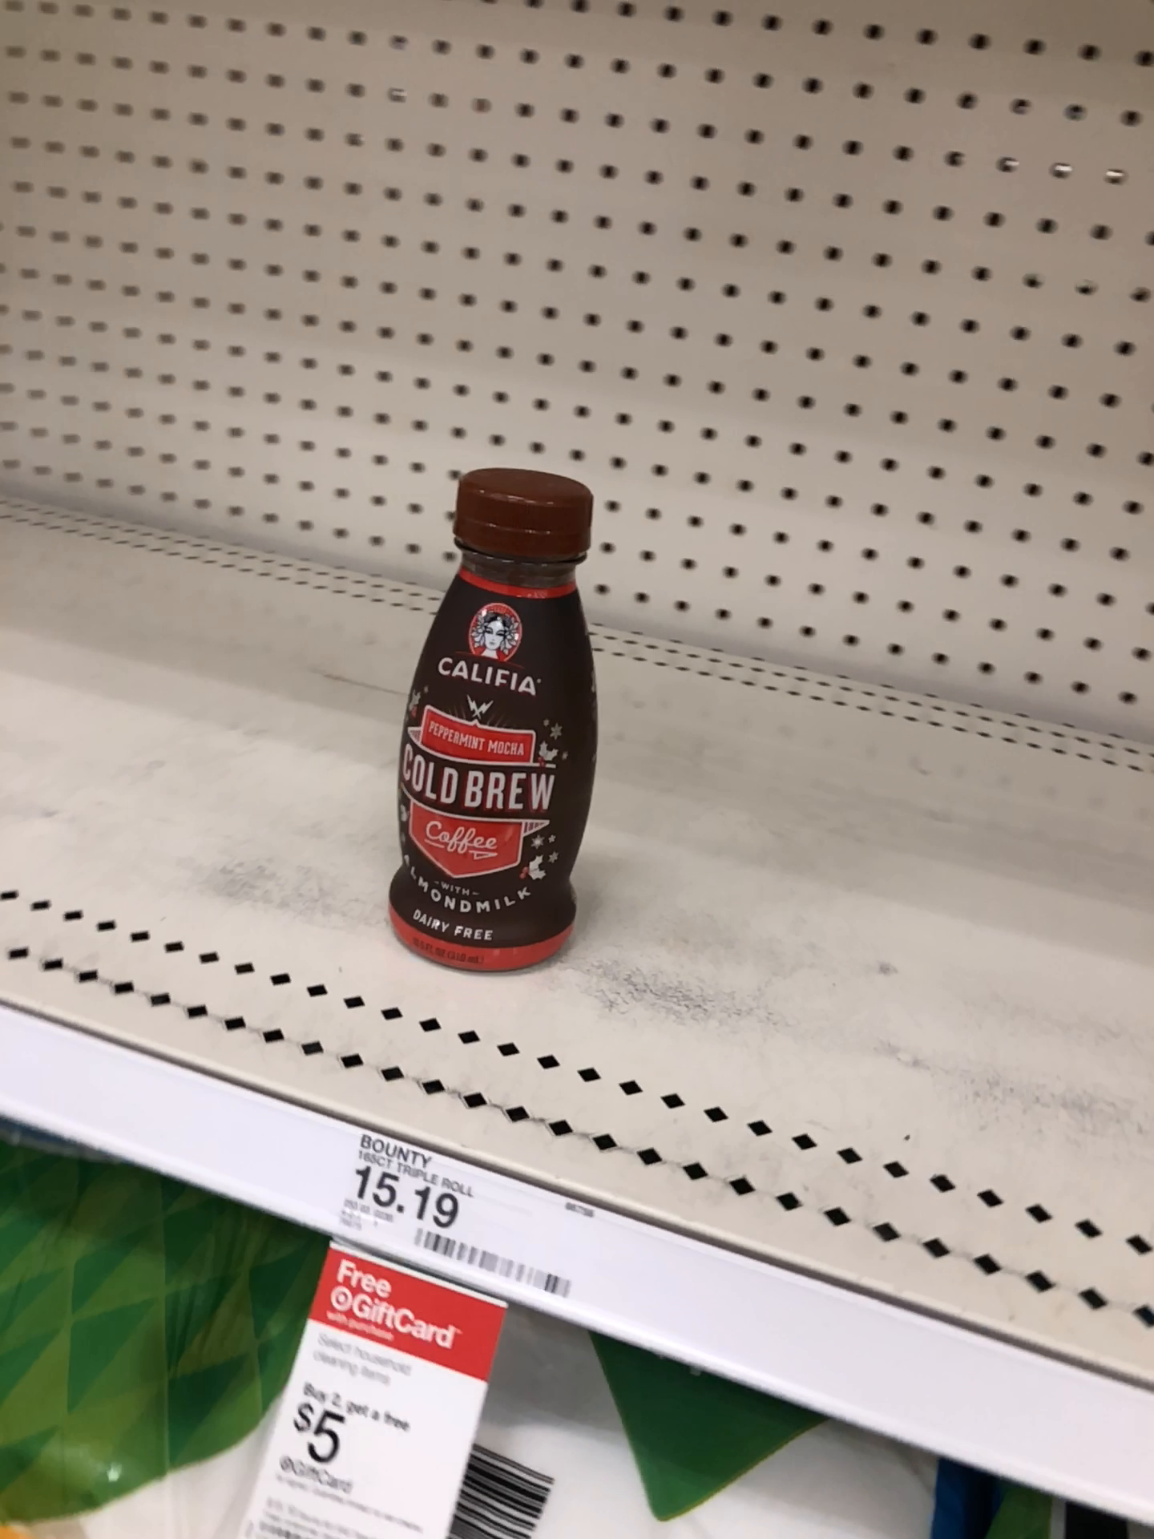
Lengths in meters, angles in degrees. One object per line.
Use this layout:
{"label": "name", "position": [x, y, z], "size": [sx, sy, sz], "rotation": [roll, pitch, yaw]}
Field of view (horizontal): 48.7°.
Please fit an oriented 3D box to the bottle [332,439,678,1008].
{"label": "bottle", "position": [-0.024, -0.018, 0.403], "size": [0.070, 0.149, 0.080], "rotation": [15, 26, 18]}
